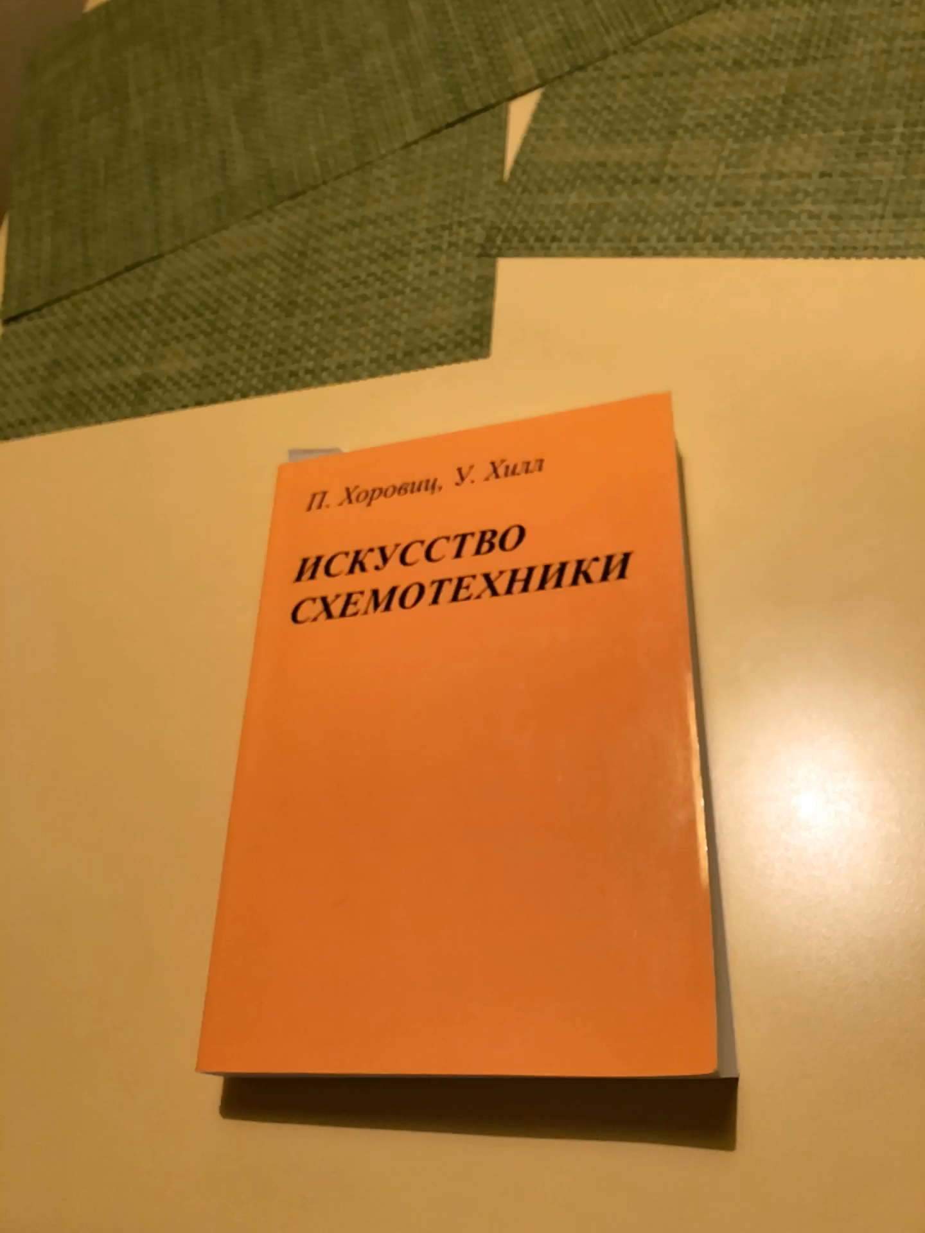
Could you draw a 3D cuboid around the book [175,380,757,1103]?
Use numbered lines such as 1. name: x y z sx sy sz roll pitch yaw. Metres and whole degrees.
1. book: 0.004 0.039 0.369 0.171 0.048 0.238 -7 61 18
